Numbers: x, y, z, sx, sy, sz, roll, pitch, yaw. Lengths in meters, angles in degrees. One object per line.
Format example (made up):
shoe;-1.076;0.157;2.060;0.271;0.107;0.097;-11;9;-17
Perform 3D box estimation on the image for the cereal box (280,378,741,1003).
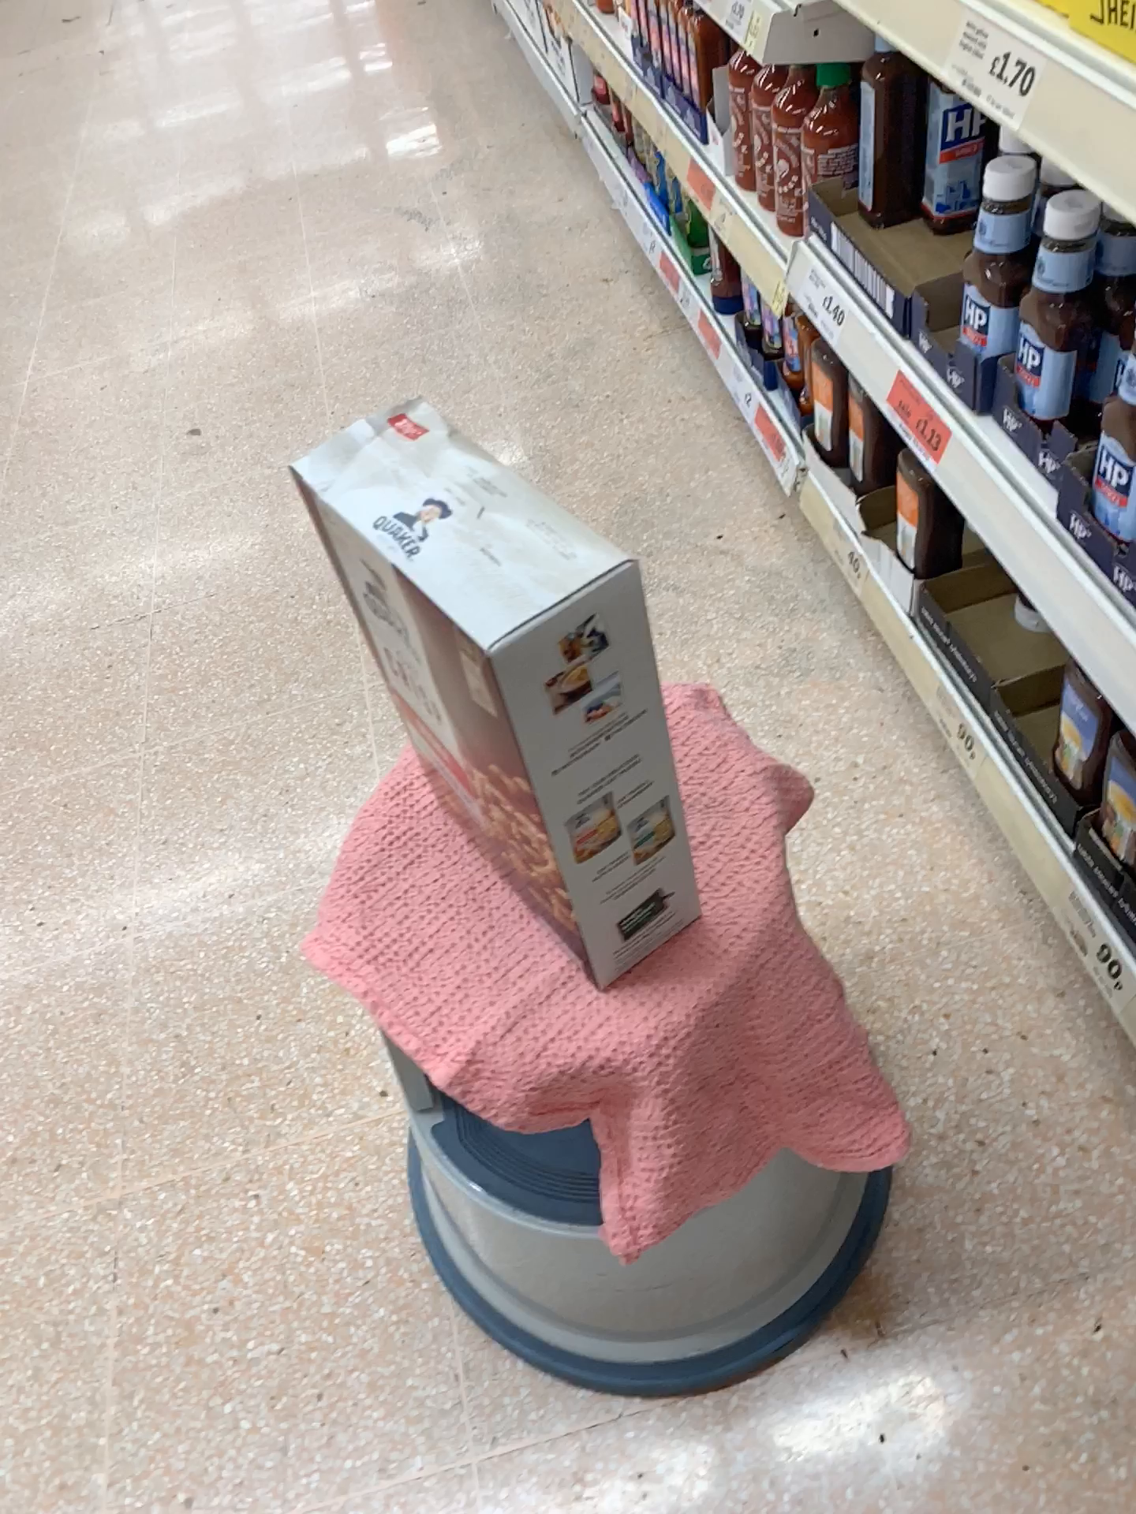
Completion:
cereal box;-0.020;-0.027;0.605;0.090;0.268;0.191;-34;50;-14
